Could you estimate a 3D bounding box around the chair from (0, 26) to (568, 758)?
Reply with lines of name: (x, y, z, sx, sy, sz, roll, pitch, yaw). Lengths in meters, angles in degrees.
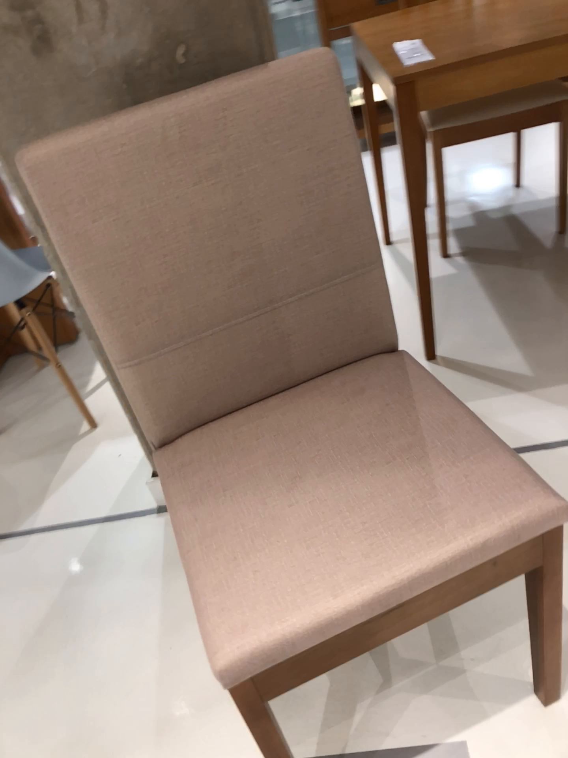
chair: (0.028, 0.110, 0.892, 0.560, 0.932, 0.544, -22, 36, -8)
